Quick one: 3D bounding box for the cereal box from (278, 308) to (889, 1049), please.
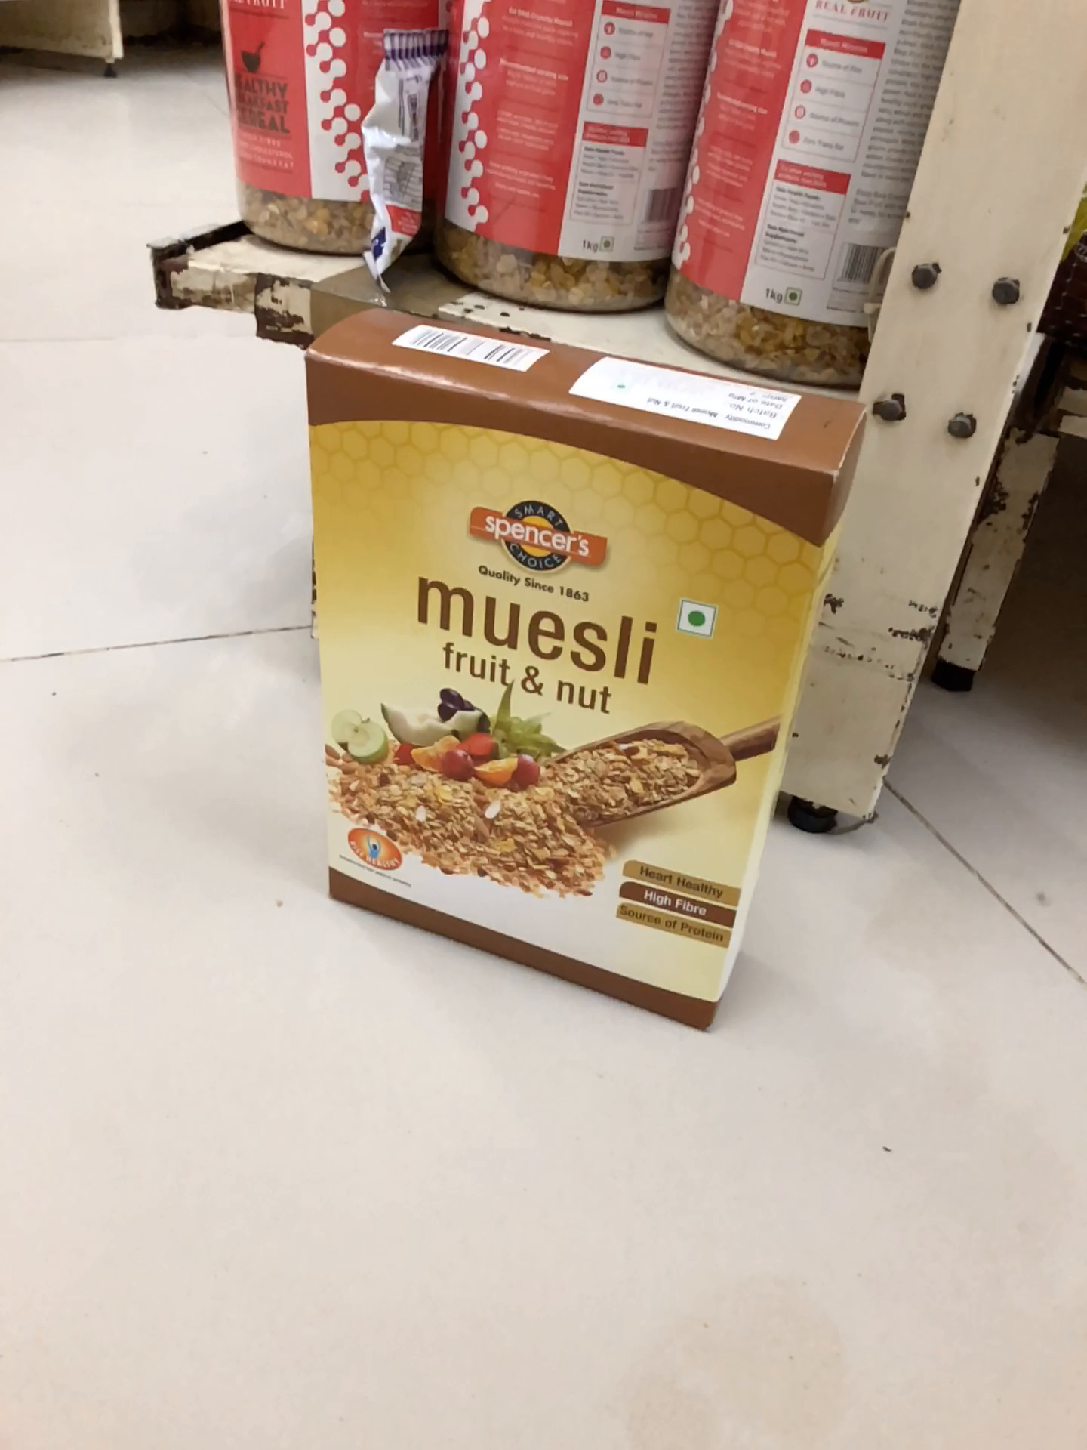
[{"bbox_3d":[0.003,-0.013,0.454,0.190,0.238,0.060,16,35,16],"label":"cereal box"}]
